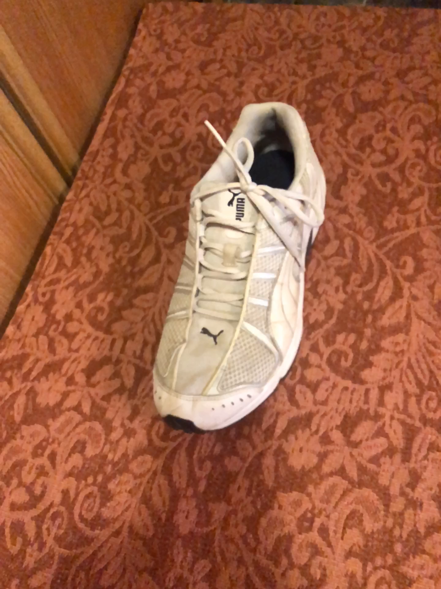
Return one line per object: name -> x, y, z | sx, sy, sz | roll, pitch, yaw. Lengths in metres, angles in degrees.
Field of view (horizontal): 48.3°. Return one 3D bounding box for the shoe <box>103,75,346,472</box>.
shoe -> 0.022, -0.027, 0.390 | 0.100, 0.100, 0.291 | 10, 66, 15
